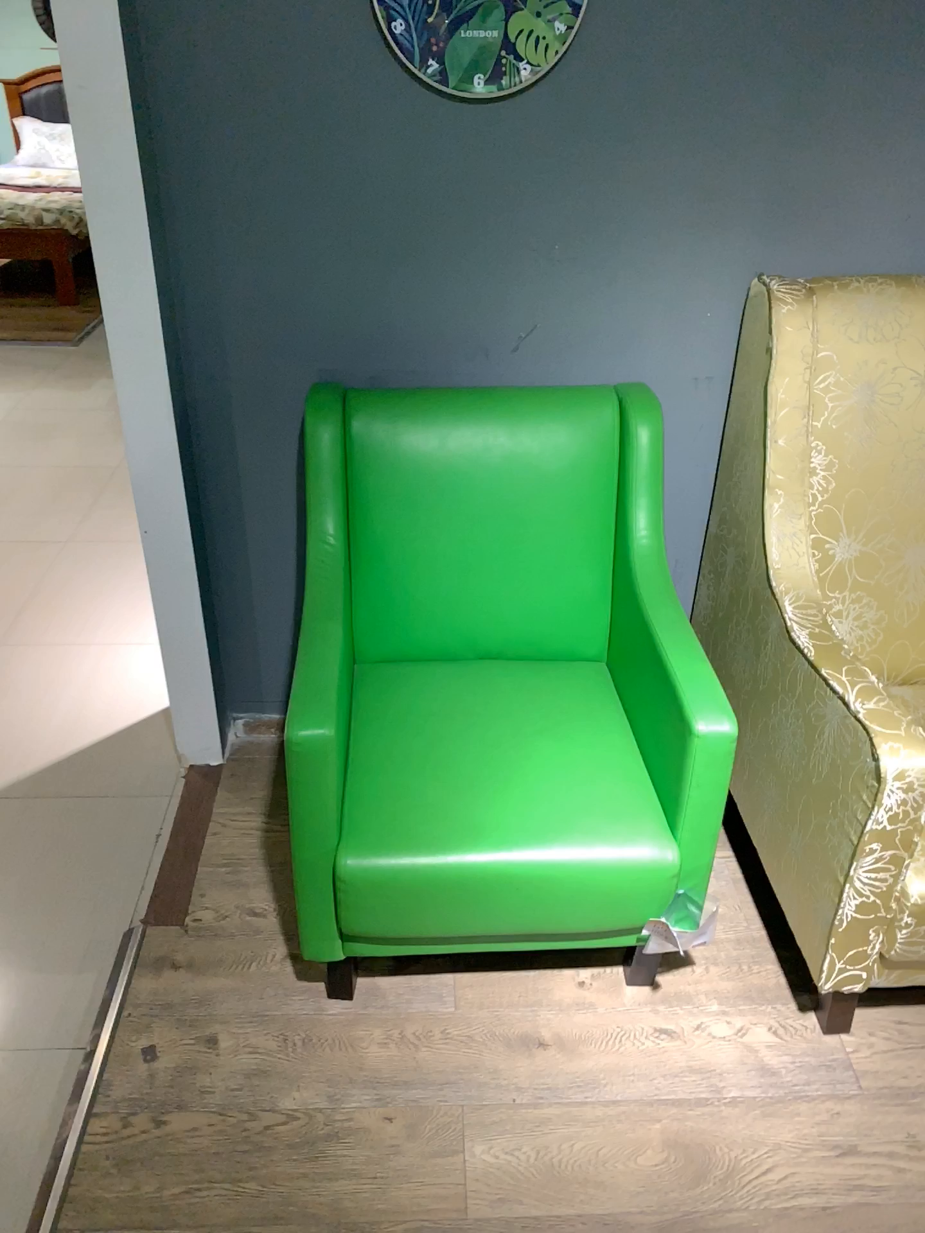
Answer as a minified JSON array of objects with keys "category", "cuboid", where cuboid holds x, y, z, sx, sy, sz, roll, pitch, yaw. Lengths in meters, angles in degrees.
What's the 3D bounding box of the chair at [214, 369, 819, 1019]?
[{"category":"chair","cuboid":[0.034,0.079,1.649,0.710,0.787,0.814,-1,32,-4]}]
